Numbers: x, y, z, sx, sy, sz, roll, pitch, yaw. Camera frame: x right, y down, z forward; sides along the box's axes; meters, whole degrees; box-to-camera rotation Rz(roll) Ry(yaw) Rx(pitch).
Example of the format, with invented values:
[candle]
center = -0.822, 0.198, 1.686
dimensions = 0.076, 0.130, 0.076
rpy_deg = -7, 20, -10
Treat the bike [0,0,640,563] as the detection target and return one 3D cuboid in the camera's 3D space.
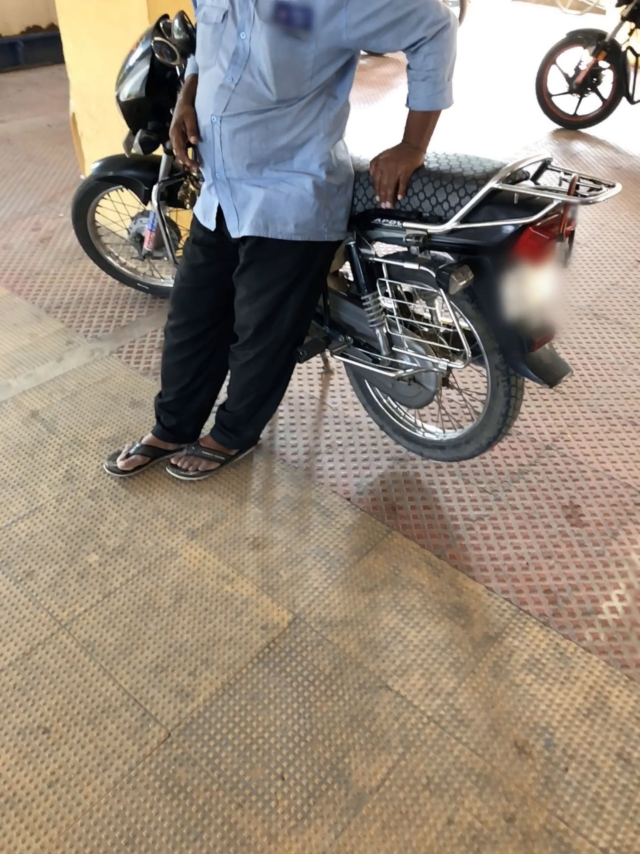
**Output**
[bike]
center = -0.203, -0.594, 1.927
dimensions = 1.677, 1.036, 0.681
rpy_deg = 31, 46, 29
